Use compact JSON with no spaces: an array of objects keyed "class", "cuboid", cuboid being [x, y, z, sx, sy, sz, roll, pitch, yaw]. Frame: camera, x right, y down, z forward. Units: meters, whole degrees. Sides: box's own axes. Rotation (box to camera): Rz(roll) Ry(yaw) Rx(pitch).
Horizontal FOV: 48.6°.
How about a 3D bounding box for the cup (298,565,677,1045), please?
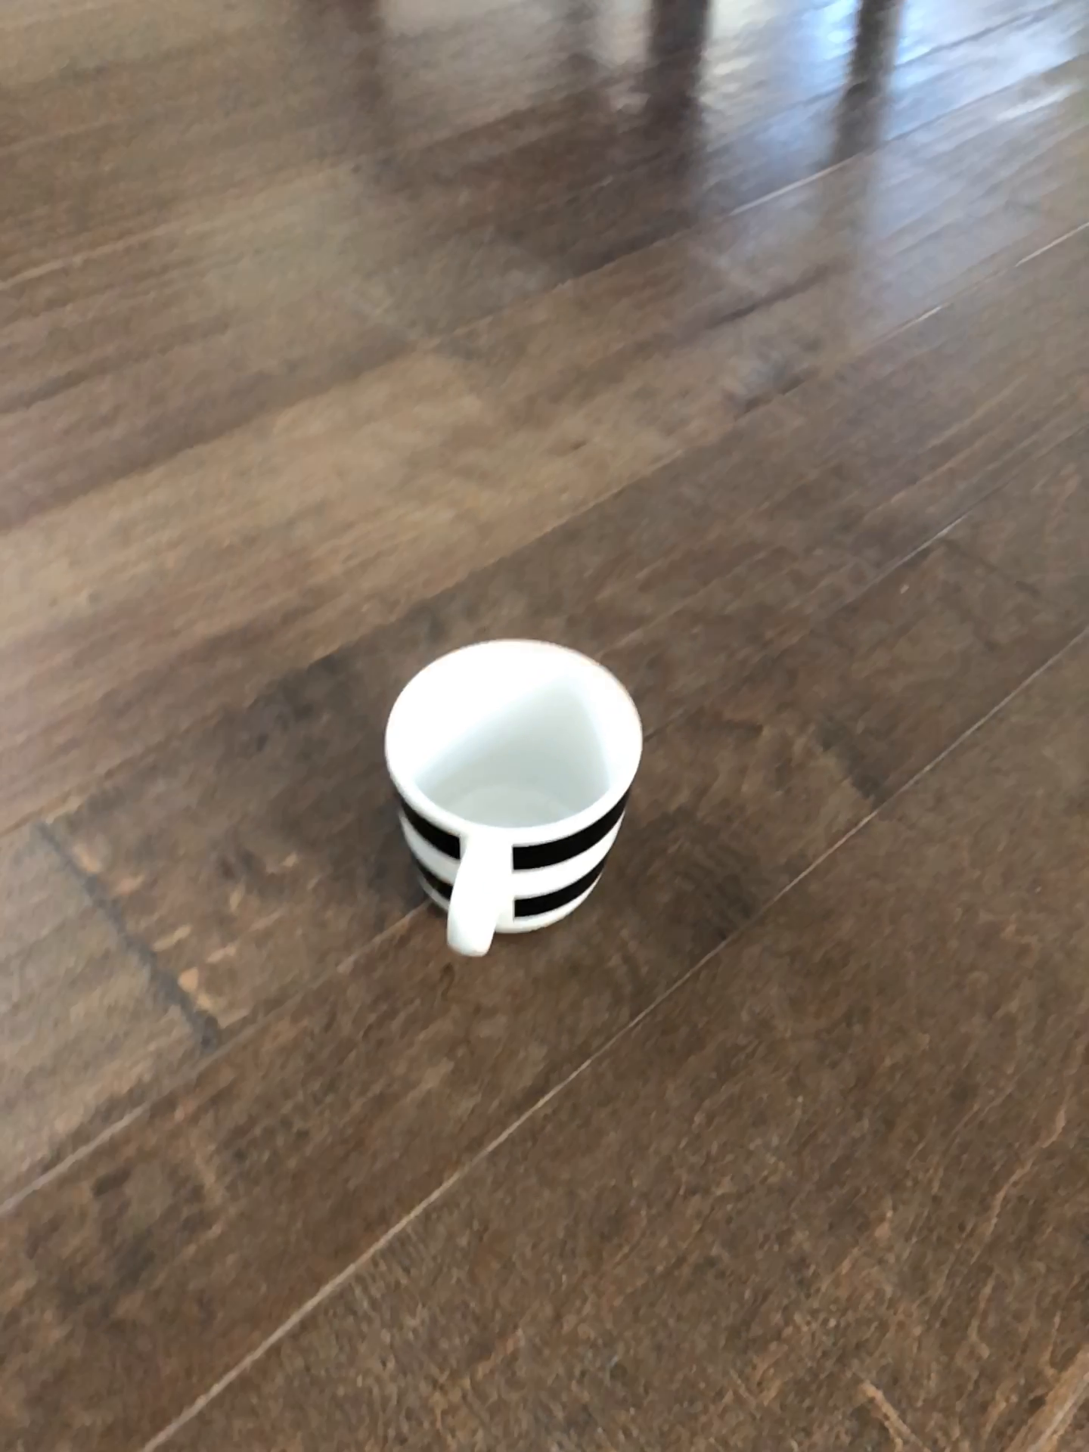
[{"class":"cup","cuboid":[-0.013,0.023,0.397,0.090,0.079,0.121,10,48,6]}]
